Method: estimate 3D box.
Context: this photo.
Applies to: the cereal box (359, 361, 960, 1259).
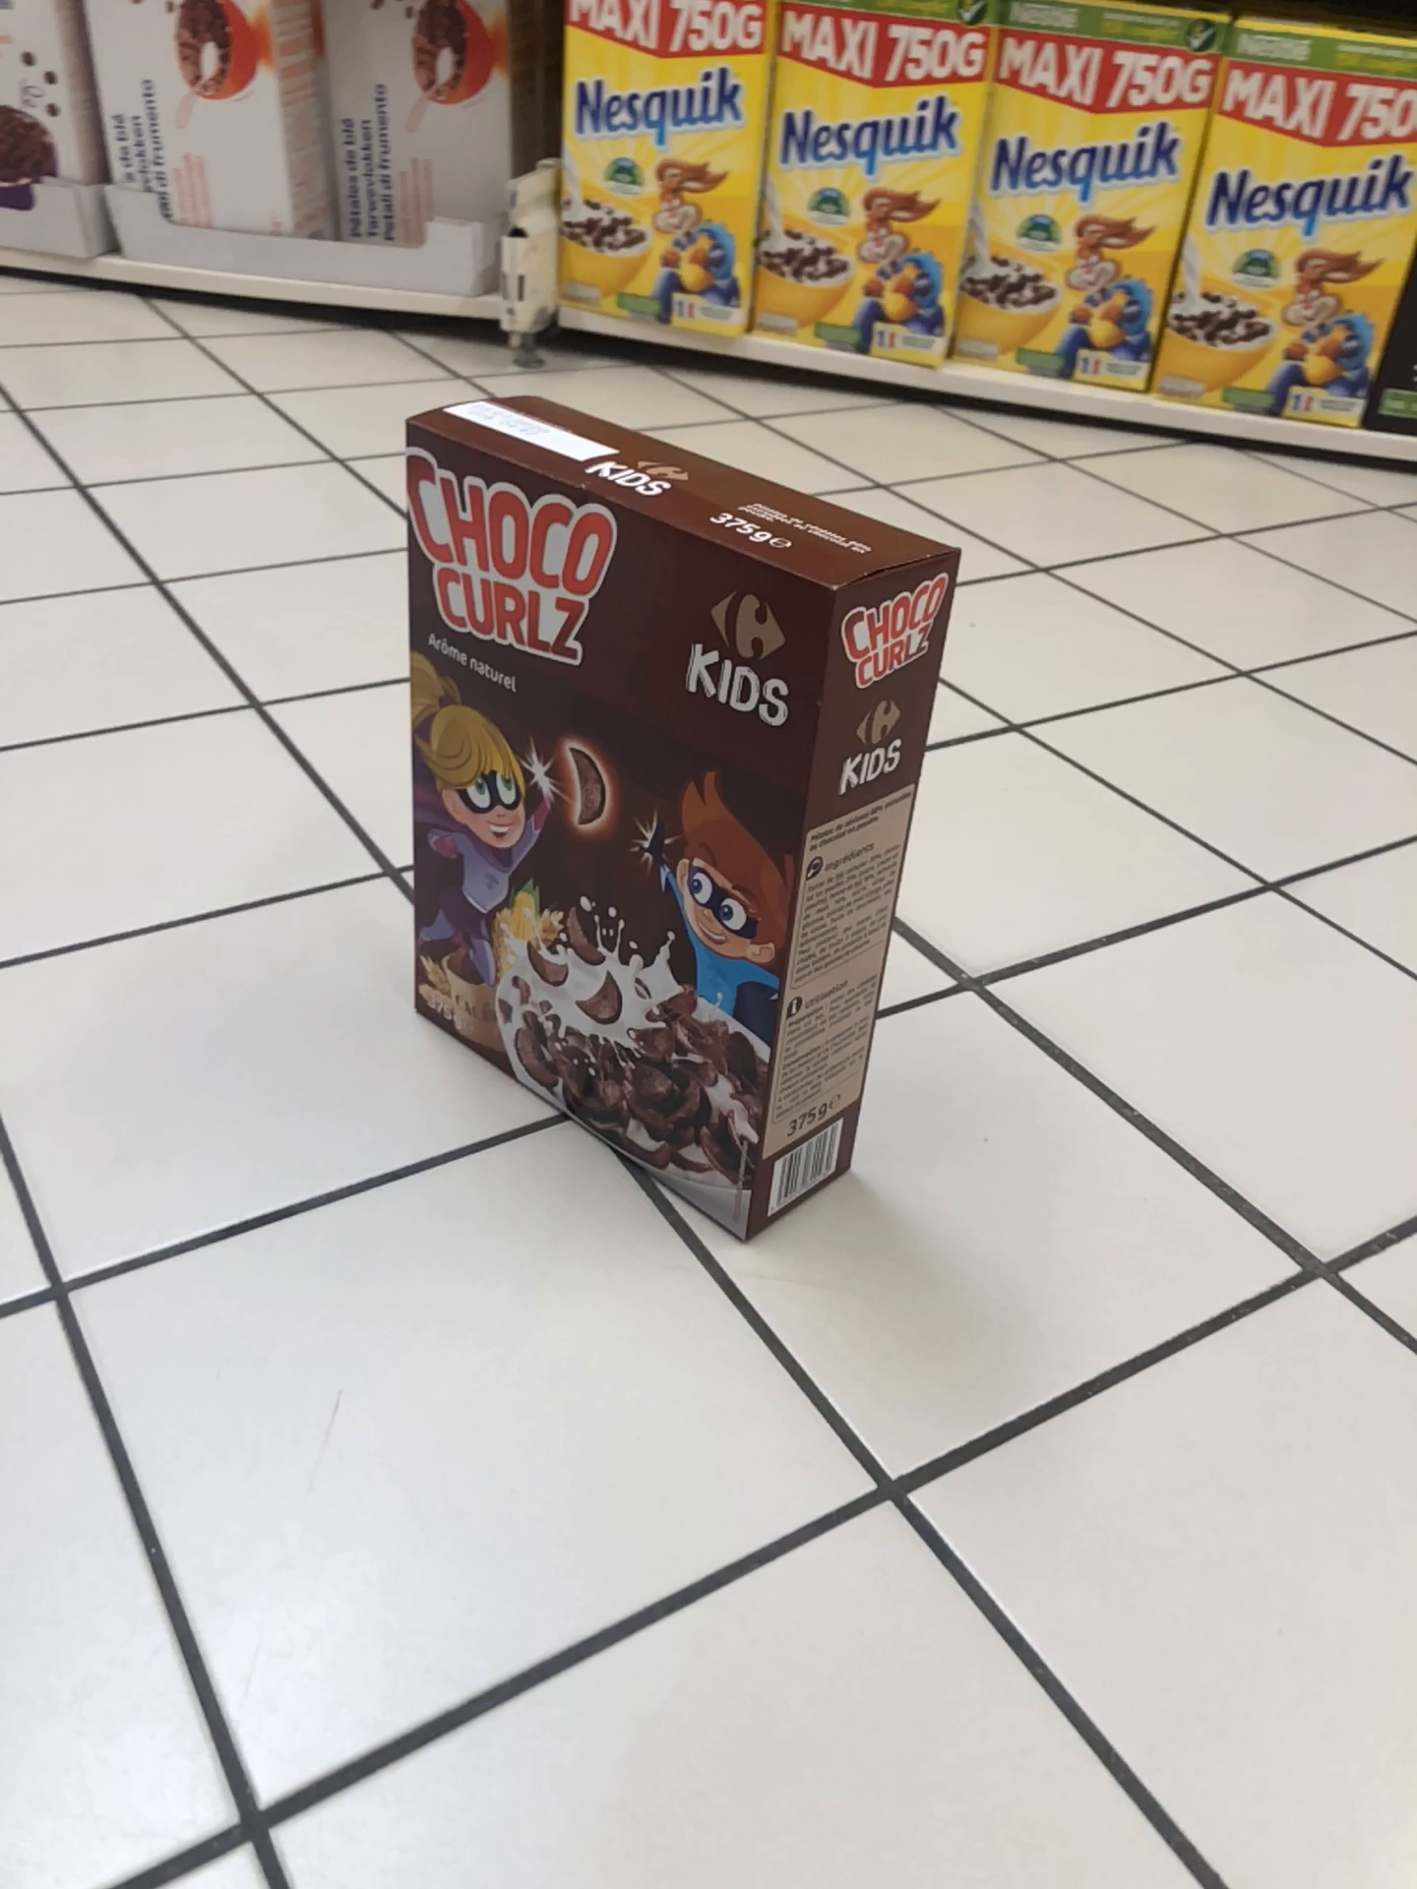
[{"bbox_3d":[-0.032,-0.050,0.565,0.200,0.258,0.070,31,41,33],"label":"cereal box"}]
